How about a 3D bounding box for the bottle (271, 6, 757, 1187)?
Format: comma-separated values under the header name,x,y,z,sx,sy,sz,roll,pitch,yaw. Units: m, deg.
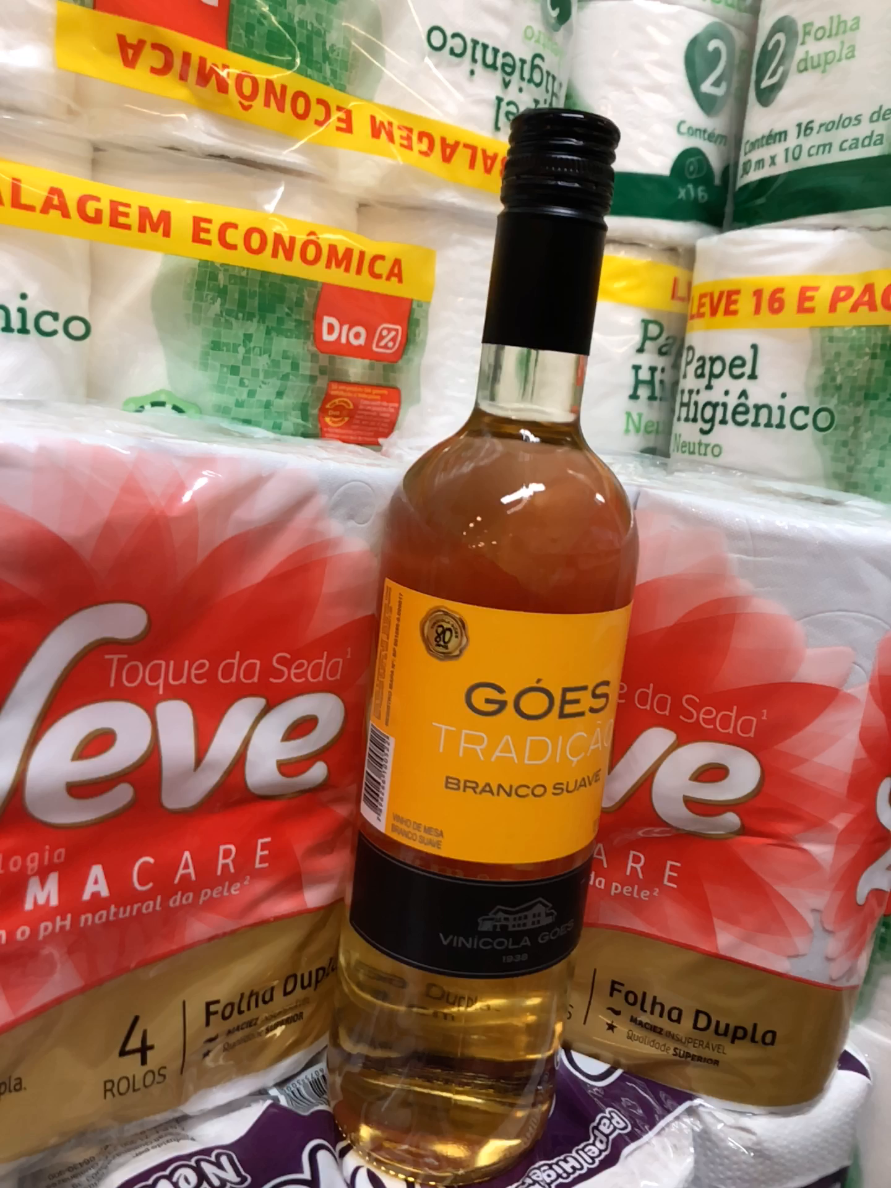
name,x,y,z,sx,sy,sz,roll,pitch,yaw
bottle,0.004,0.022,0.295,0.090,0.319,0.090,5,13,-1
